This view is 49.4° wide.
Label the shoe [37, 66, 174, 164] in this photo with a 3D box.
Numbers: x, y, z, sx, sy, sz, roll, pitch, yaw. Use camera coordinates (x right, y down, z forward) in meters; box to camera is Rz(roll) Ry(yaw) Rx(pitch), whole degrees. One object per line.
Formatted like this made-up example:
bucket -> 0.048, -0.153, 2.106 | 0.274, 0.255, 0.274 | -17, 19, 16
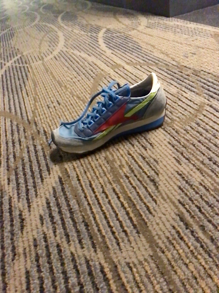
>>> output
shoe -> -0.006, -0.073, 0.506 | 0.260, 0.095, 0.101 | -20, 38, -8
